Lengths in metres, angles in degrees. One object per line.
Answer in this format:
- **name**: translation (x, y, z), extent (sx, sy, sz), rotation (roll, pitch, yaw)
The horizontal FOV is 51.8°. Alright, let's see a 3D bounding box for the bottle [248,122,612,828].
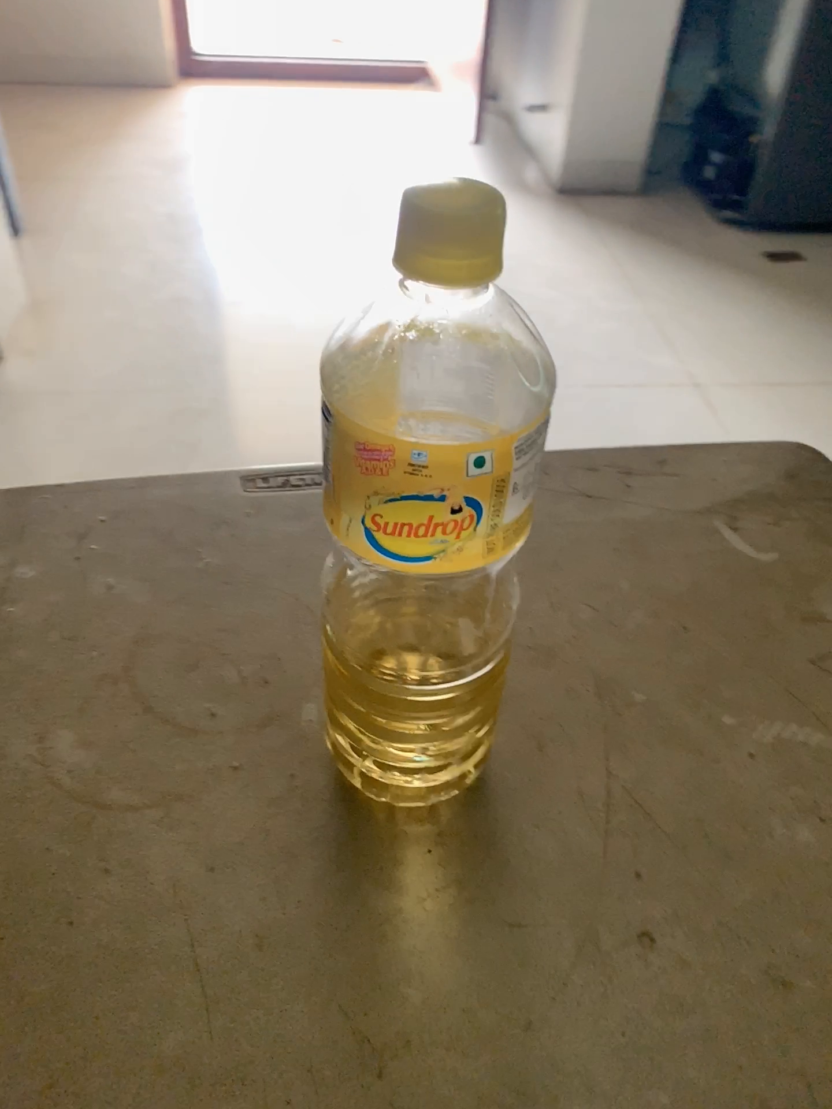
- **bottle**: translation (-0.002, -0.007, 0.336), extent (0.090, 0.269, 0.090), rotation (2, 43, -2)
